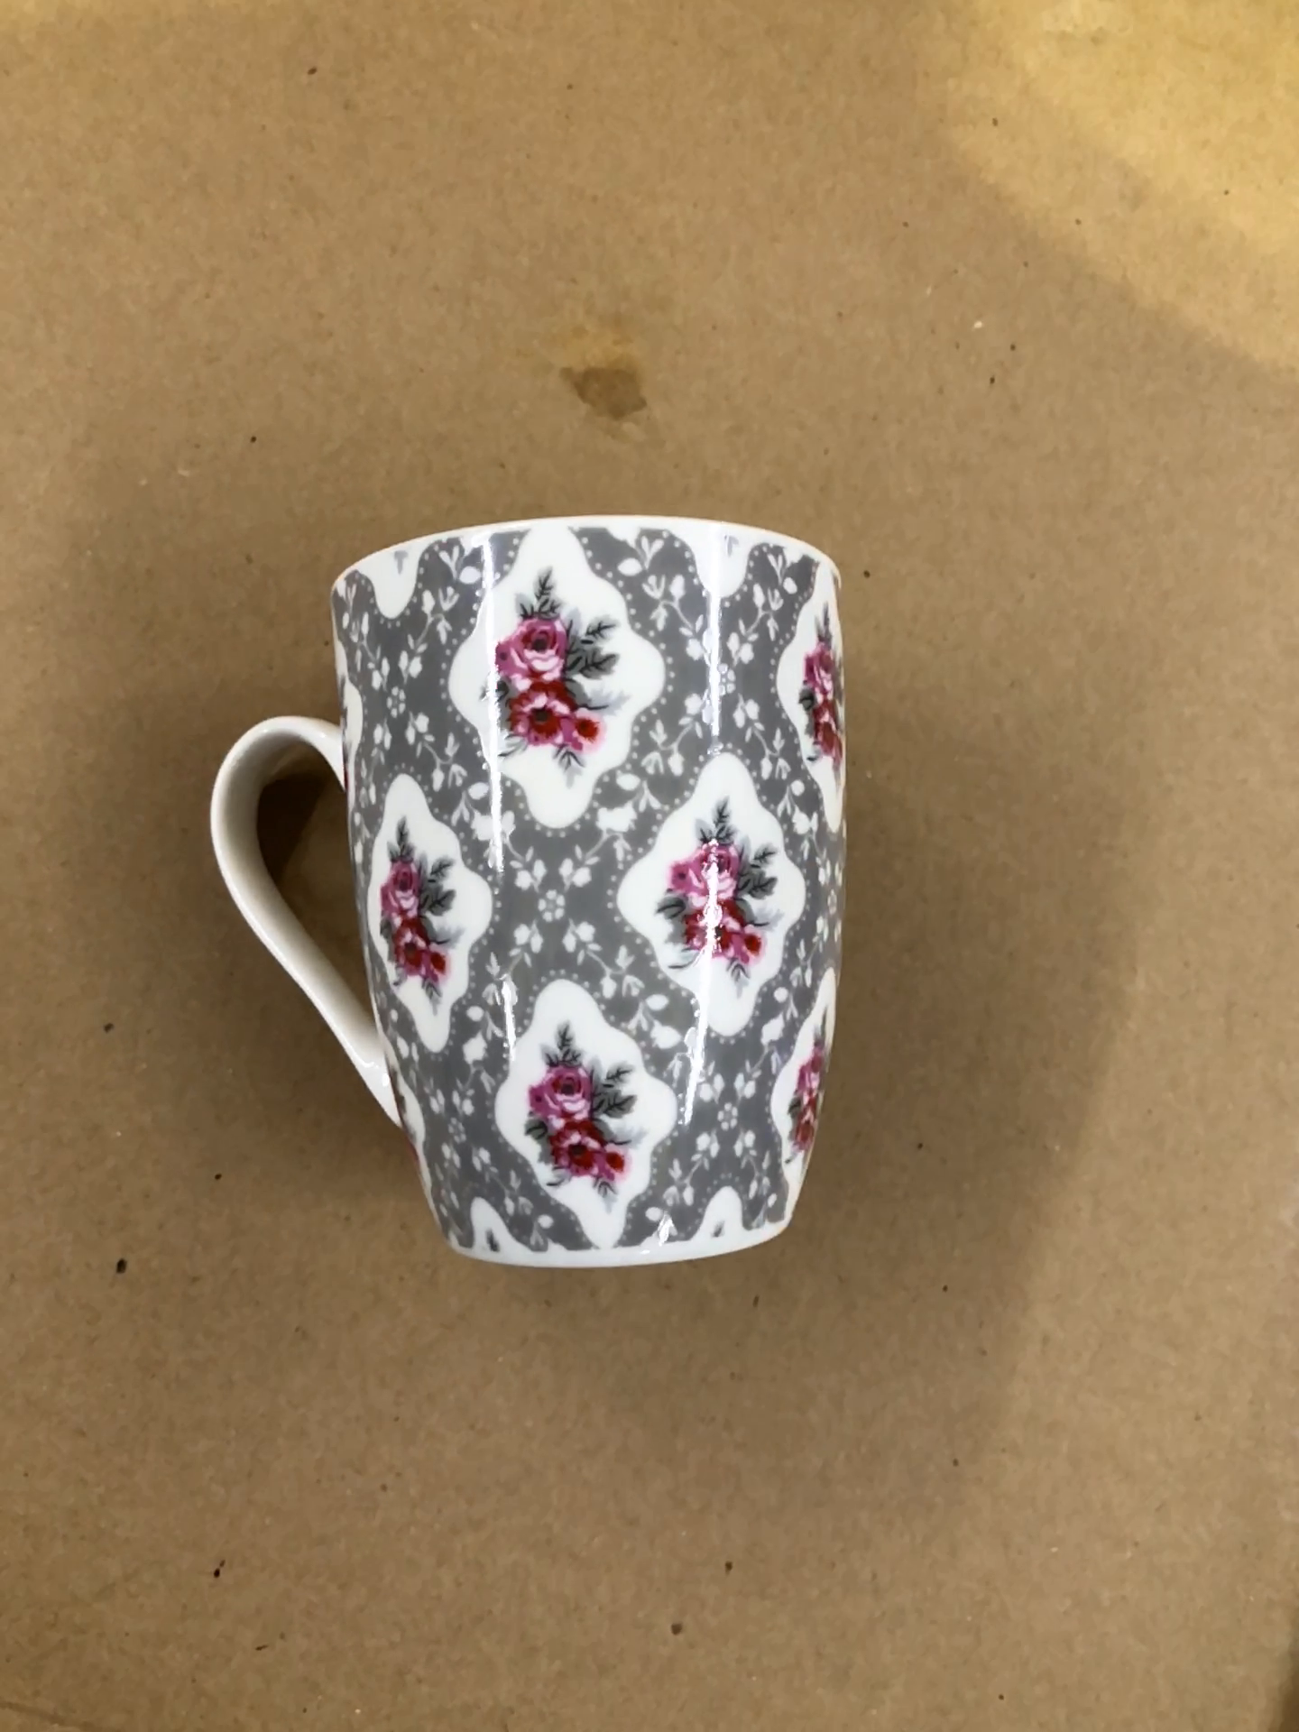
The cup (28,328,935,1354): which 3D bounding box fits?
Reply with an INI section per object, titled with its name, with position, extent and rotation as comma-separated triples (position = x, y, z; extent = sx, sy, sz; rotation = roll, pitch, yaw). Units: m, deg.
[cup]
position = -0.020, 0.002, 0.210
extent = 0.100, 0.080, 0.110
rotation = -5, 84, 22
